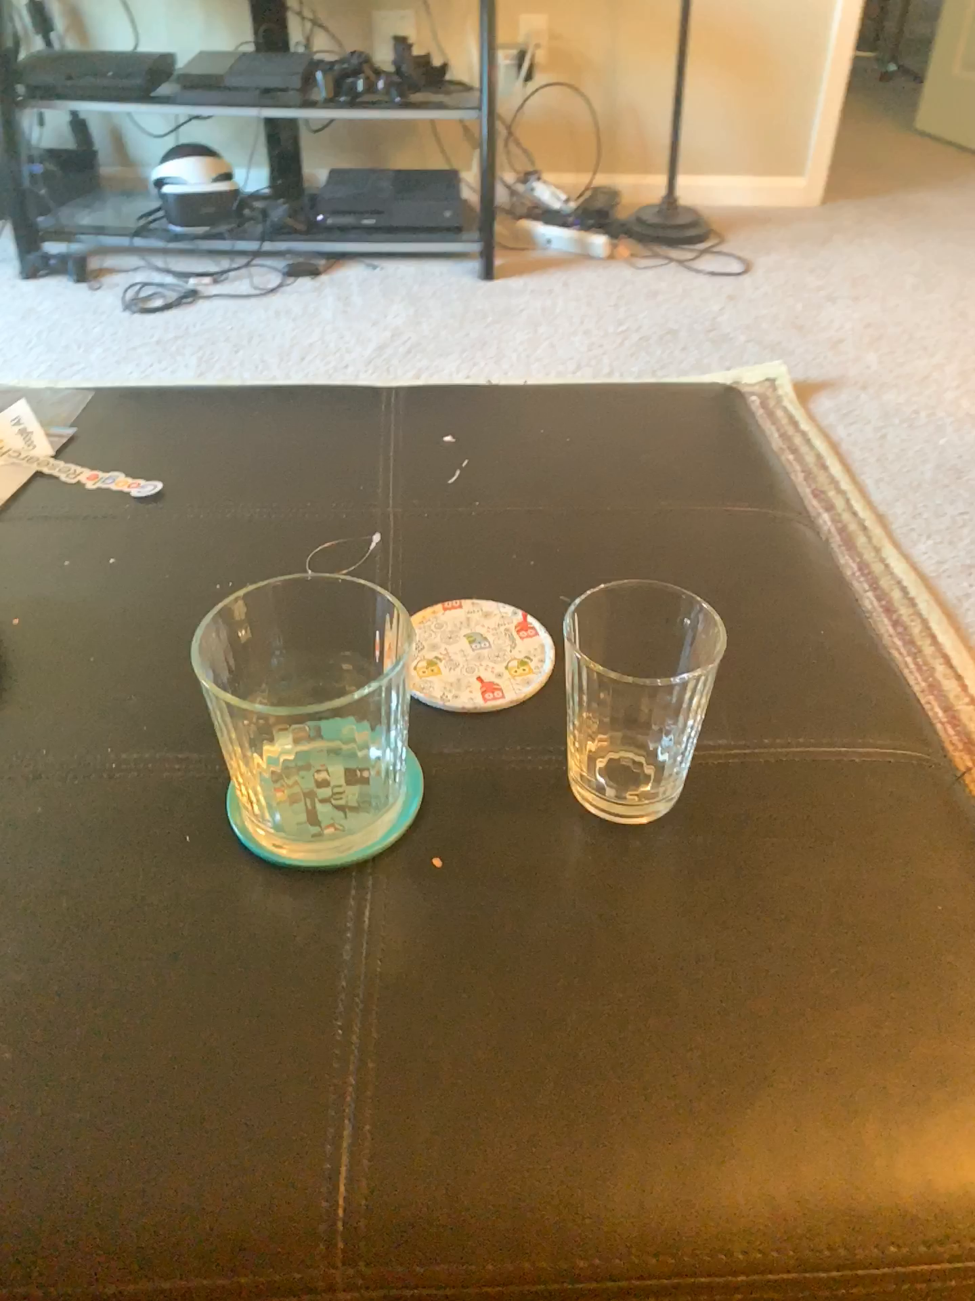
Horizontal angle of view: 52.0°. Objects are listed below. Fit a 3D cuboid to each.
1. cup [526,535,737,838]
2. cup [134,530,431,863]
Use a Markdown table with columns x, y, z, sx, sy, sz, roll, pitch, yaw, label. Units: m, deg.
| x | y | z | sx | sy | sz | roll | pitch | yaw | label |
| --- | --- | --- | --- | --- | --- | --- | --- | --- | --- |
| 0.059 | 0.014 | 0.419 | 0.060 | 0.089 | 0.070 | 16 | 42 | 19 | cup |
| -0.079 | 0.017 | 0.415 | 0.080 | 0.089 | 0.080 | 0 | 39 | 0 | cup |
